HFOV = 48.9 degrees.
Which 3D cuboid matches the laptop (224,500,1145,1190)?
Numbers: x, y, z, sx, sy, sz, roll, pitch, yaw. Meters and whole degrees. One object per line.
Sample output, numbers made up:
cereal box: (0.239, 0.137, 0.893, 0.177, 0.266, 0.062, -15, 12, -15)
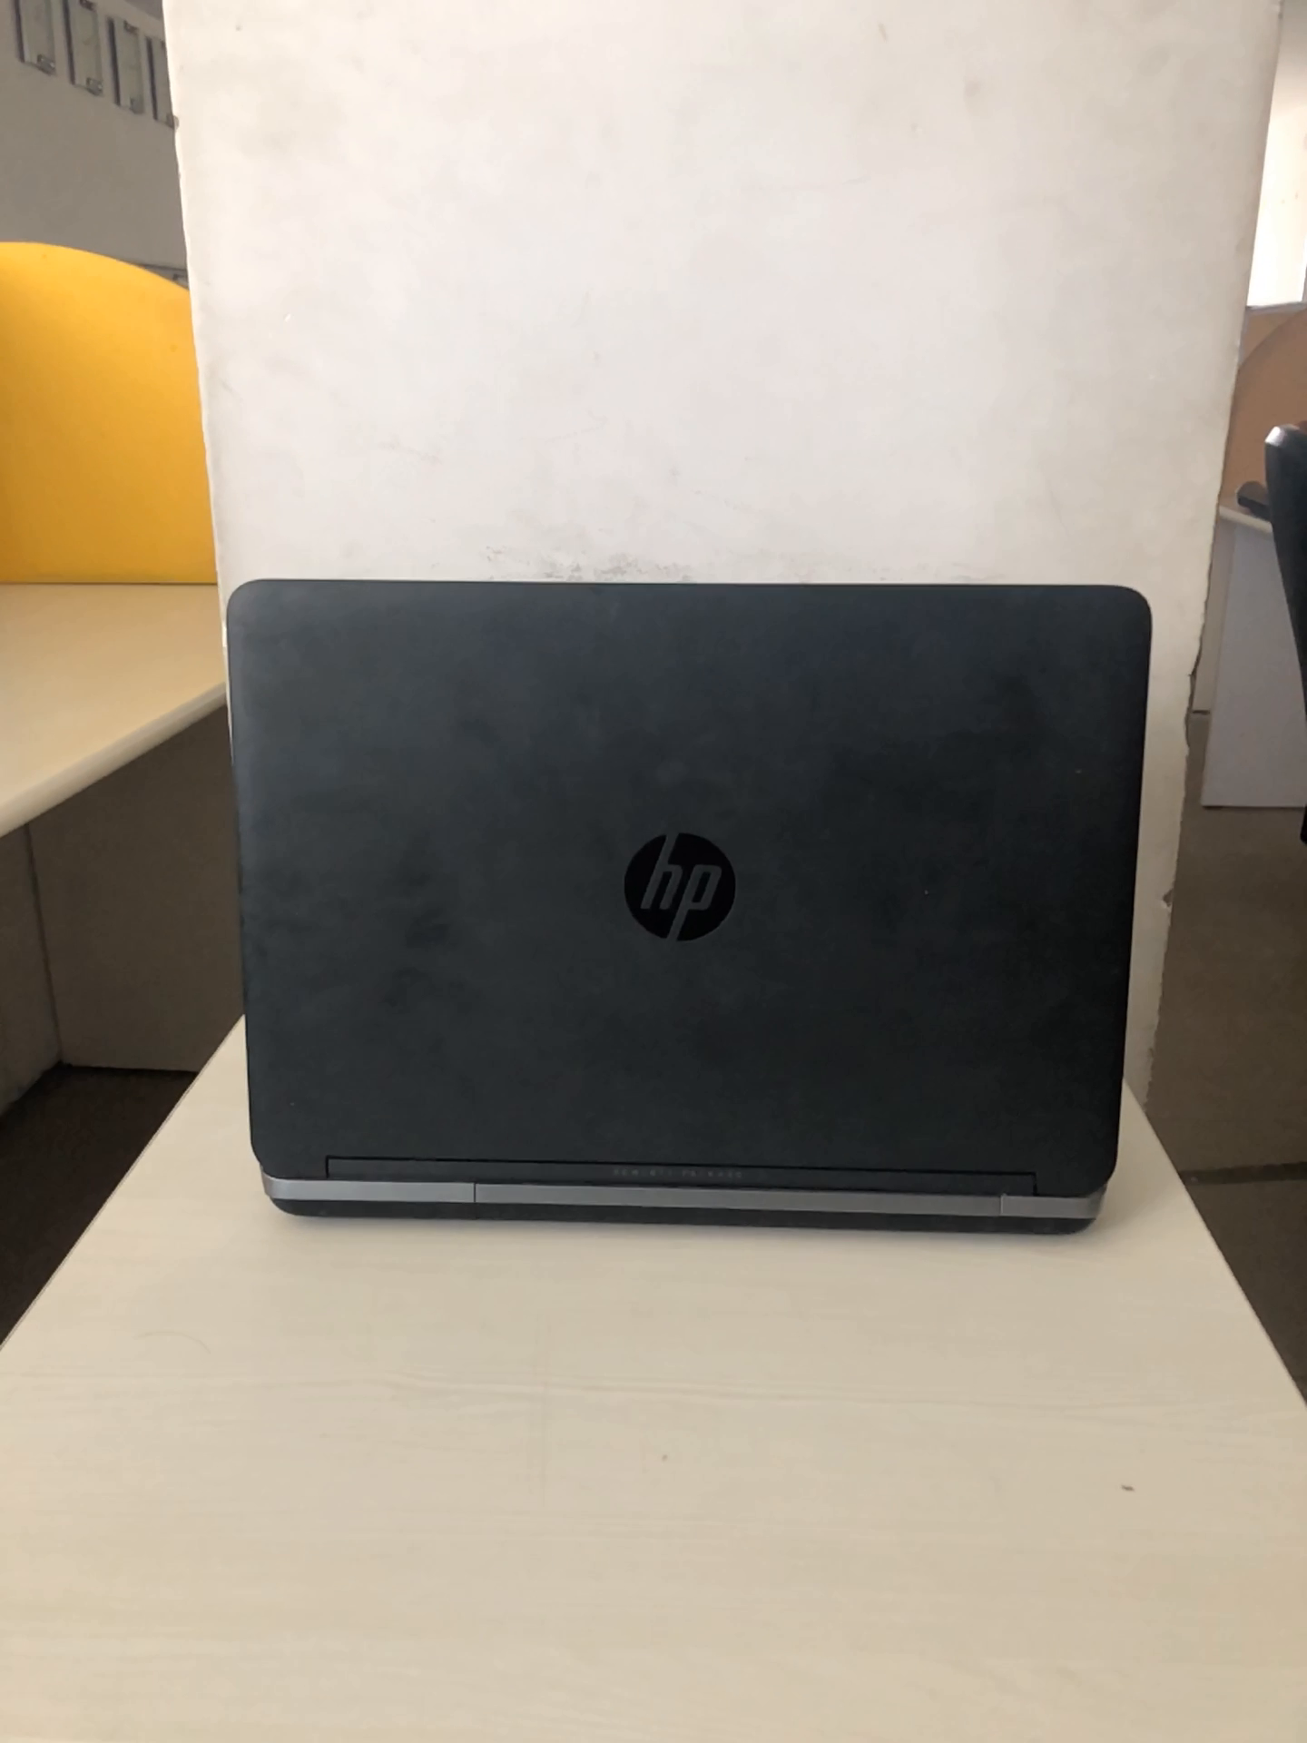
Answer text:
laptop: (0.015, -0.027, 0.624, 0.317, 0.226, 0.205, 1, 21, 2)
